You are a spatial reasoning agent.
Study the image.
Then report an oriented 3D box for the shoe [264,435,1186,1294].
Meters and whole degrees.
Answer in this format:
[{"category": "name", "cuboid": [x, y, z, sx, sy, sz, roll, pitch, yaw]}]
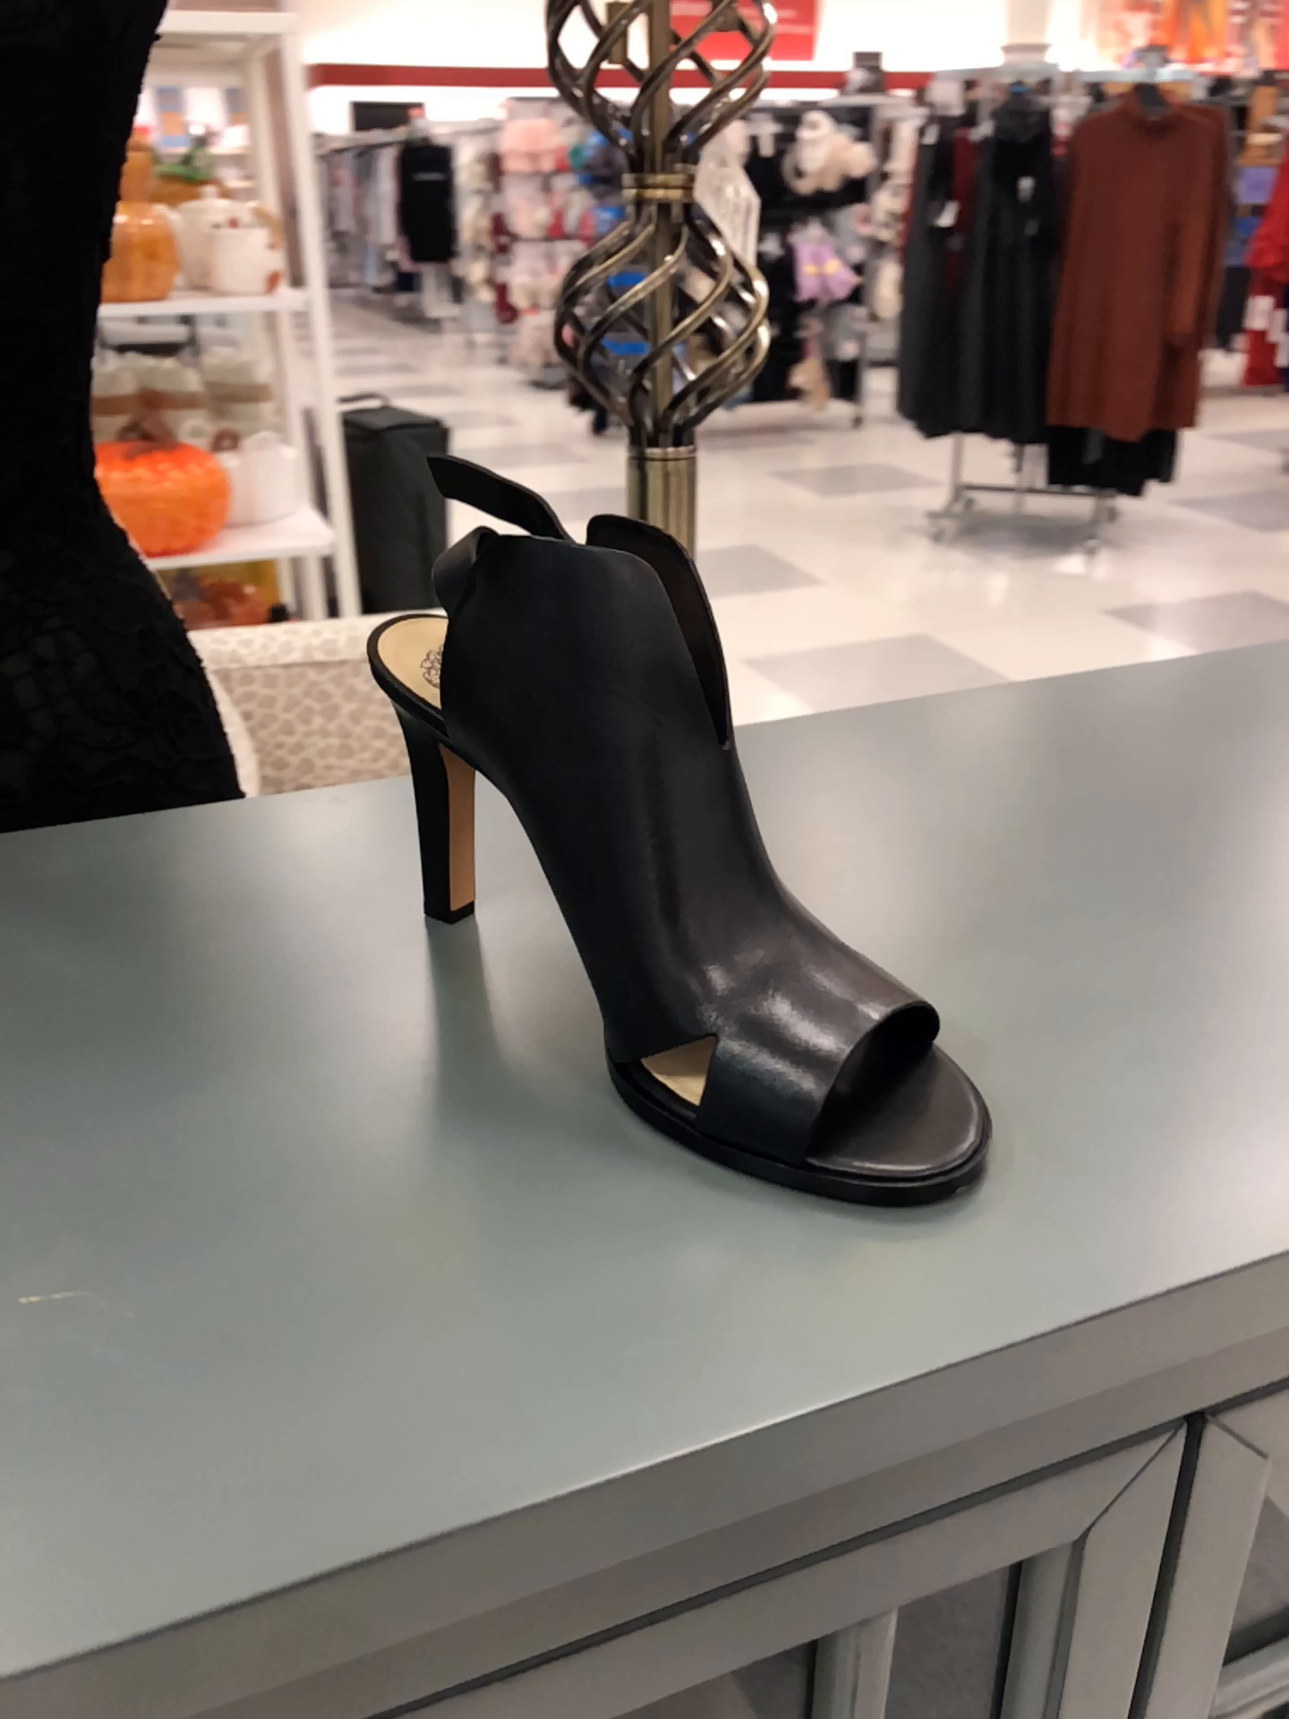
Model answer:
[{"category": "shoe", "cuboid": [0.005, -0.022, 0.394, 0.095, 0.150, 0.237, -22, 32, -38]}]
